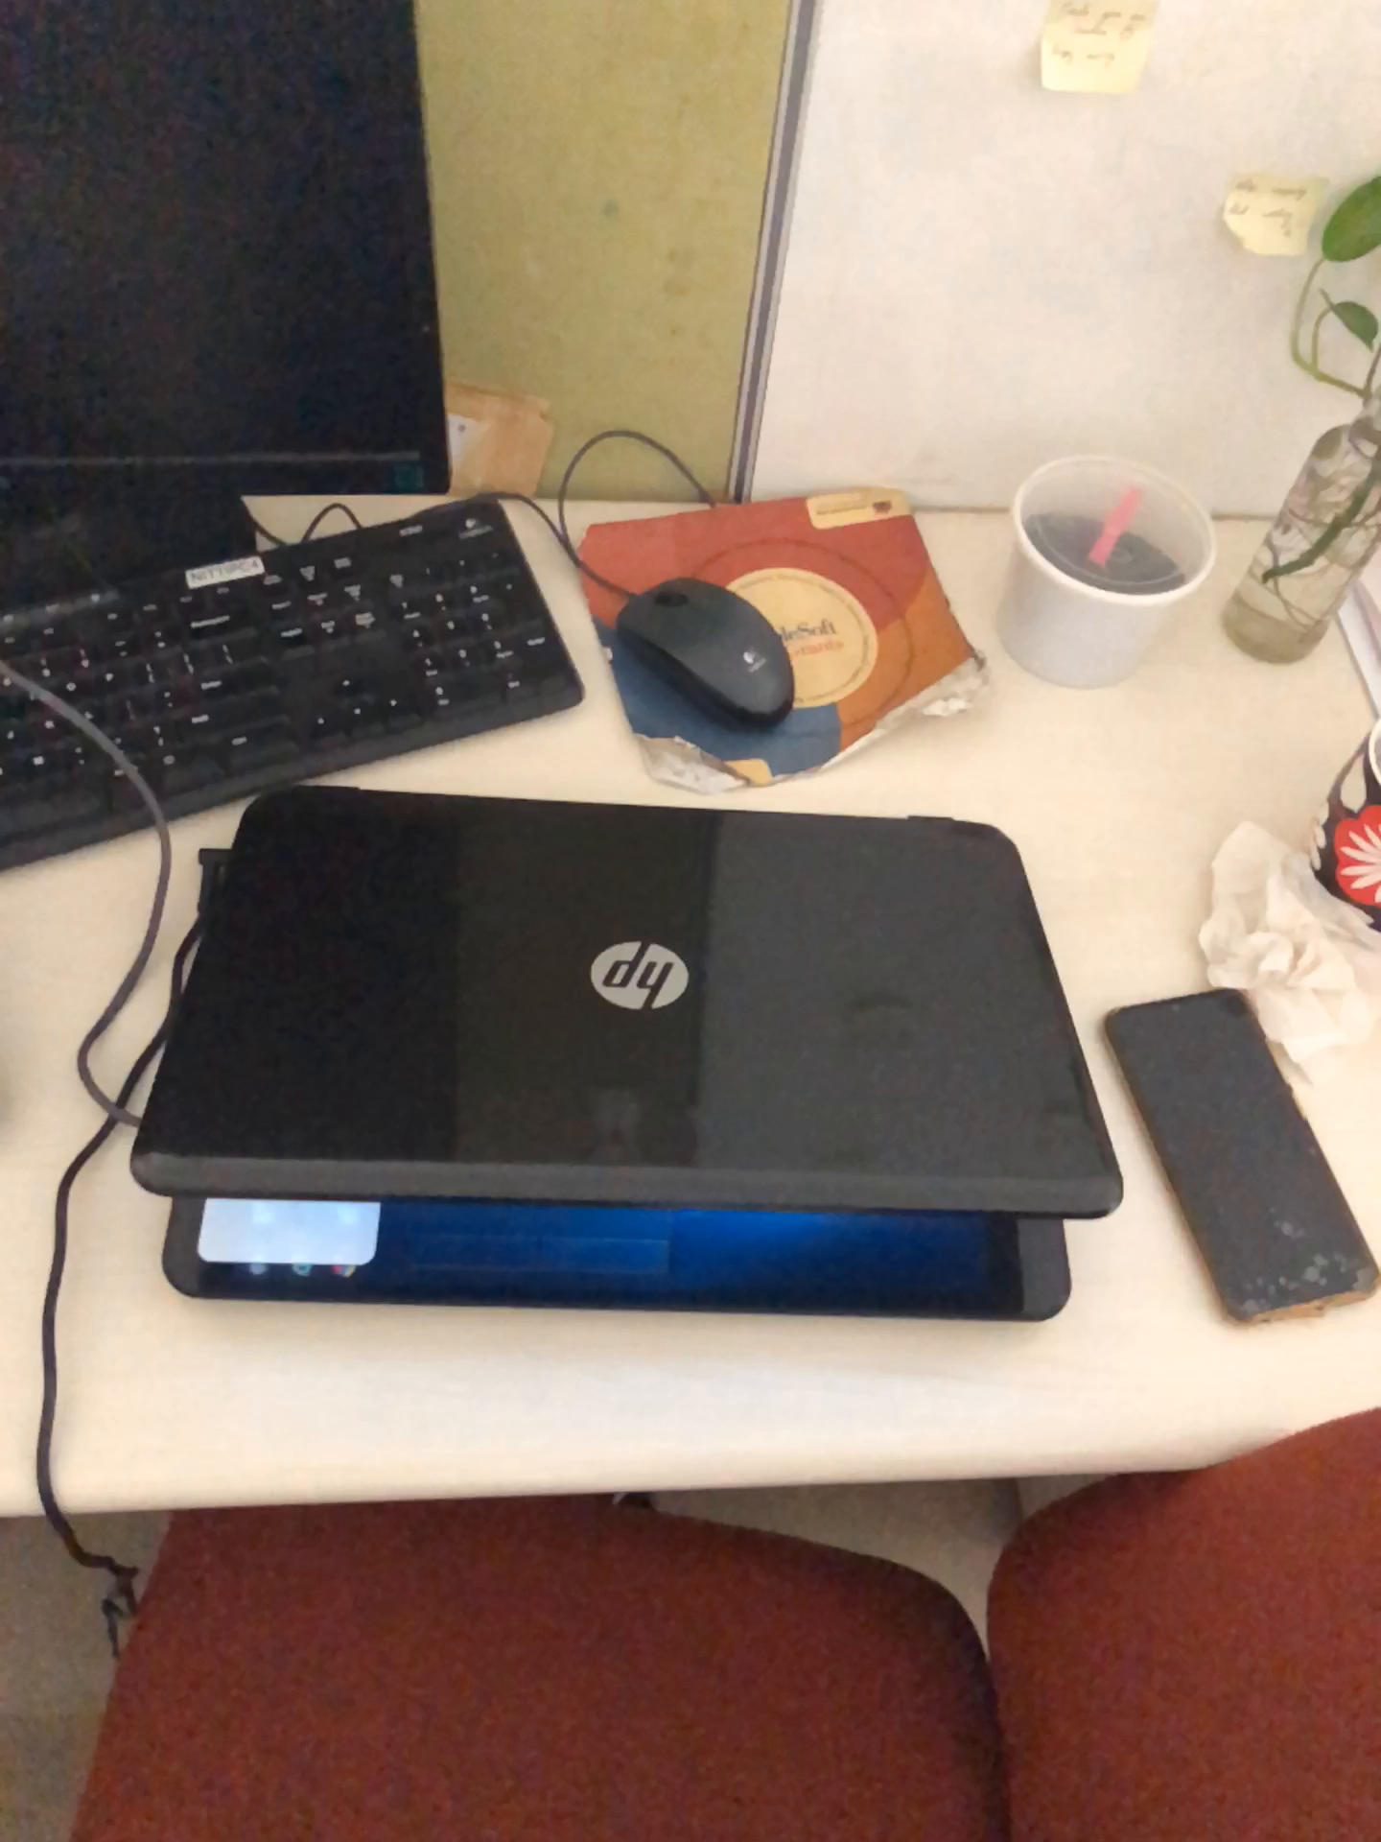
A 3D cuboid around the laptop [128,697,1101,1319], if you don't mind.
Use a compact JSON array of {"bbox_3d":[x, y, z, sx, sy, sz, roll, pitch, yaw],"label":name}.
[{"bbox_3d":[-0.024,0.032,0.644,0.350,0.072,0.247,3,58,-4],"label":"laptop"}]
